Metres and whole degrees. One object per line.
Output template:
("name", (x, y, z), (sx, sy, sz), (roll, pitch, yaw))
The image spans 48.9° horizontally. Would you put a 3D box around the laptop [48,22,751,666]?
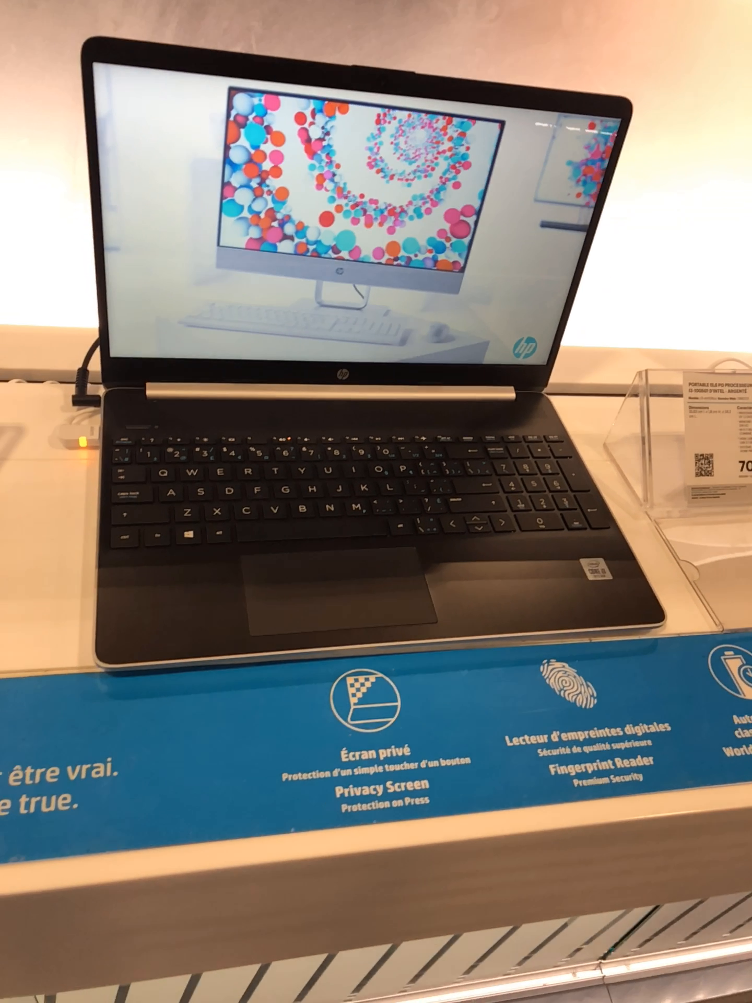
("laptop", (0.013, -0.098, 0.502), (0.355, 0.221, 0.284), (-1, 46, -15))
